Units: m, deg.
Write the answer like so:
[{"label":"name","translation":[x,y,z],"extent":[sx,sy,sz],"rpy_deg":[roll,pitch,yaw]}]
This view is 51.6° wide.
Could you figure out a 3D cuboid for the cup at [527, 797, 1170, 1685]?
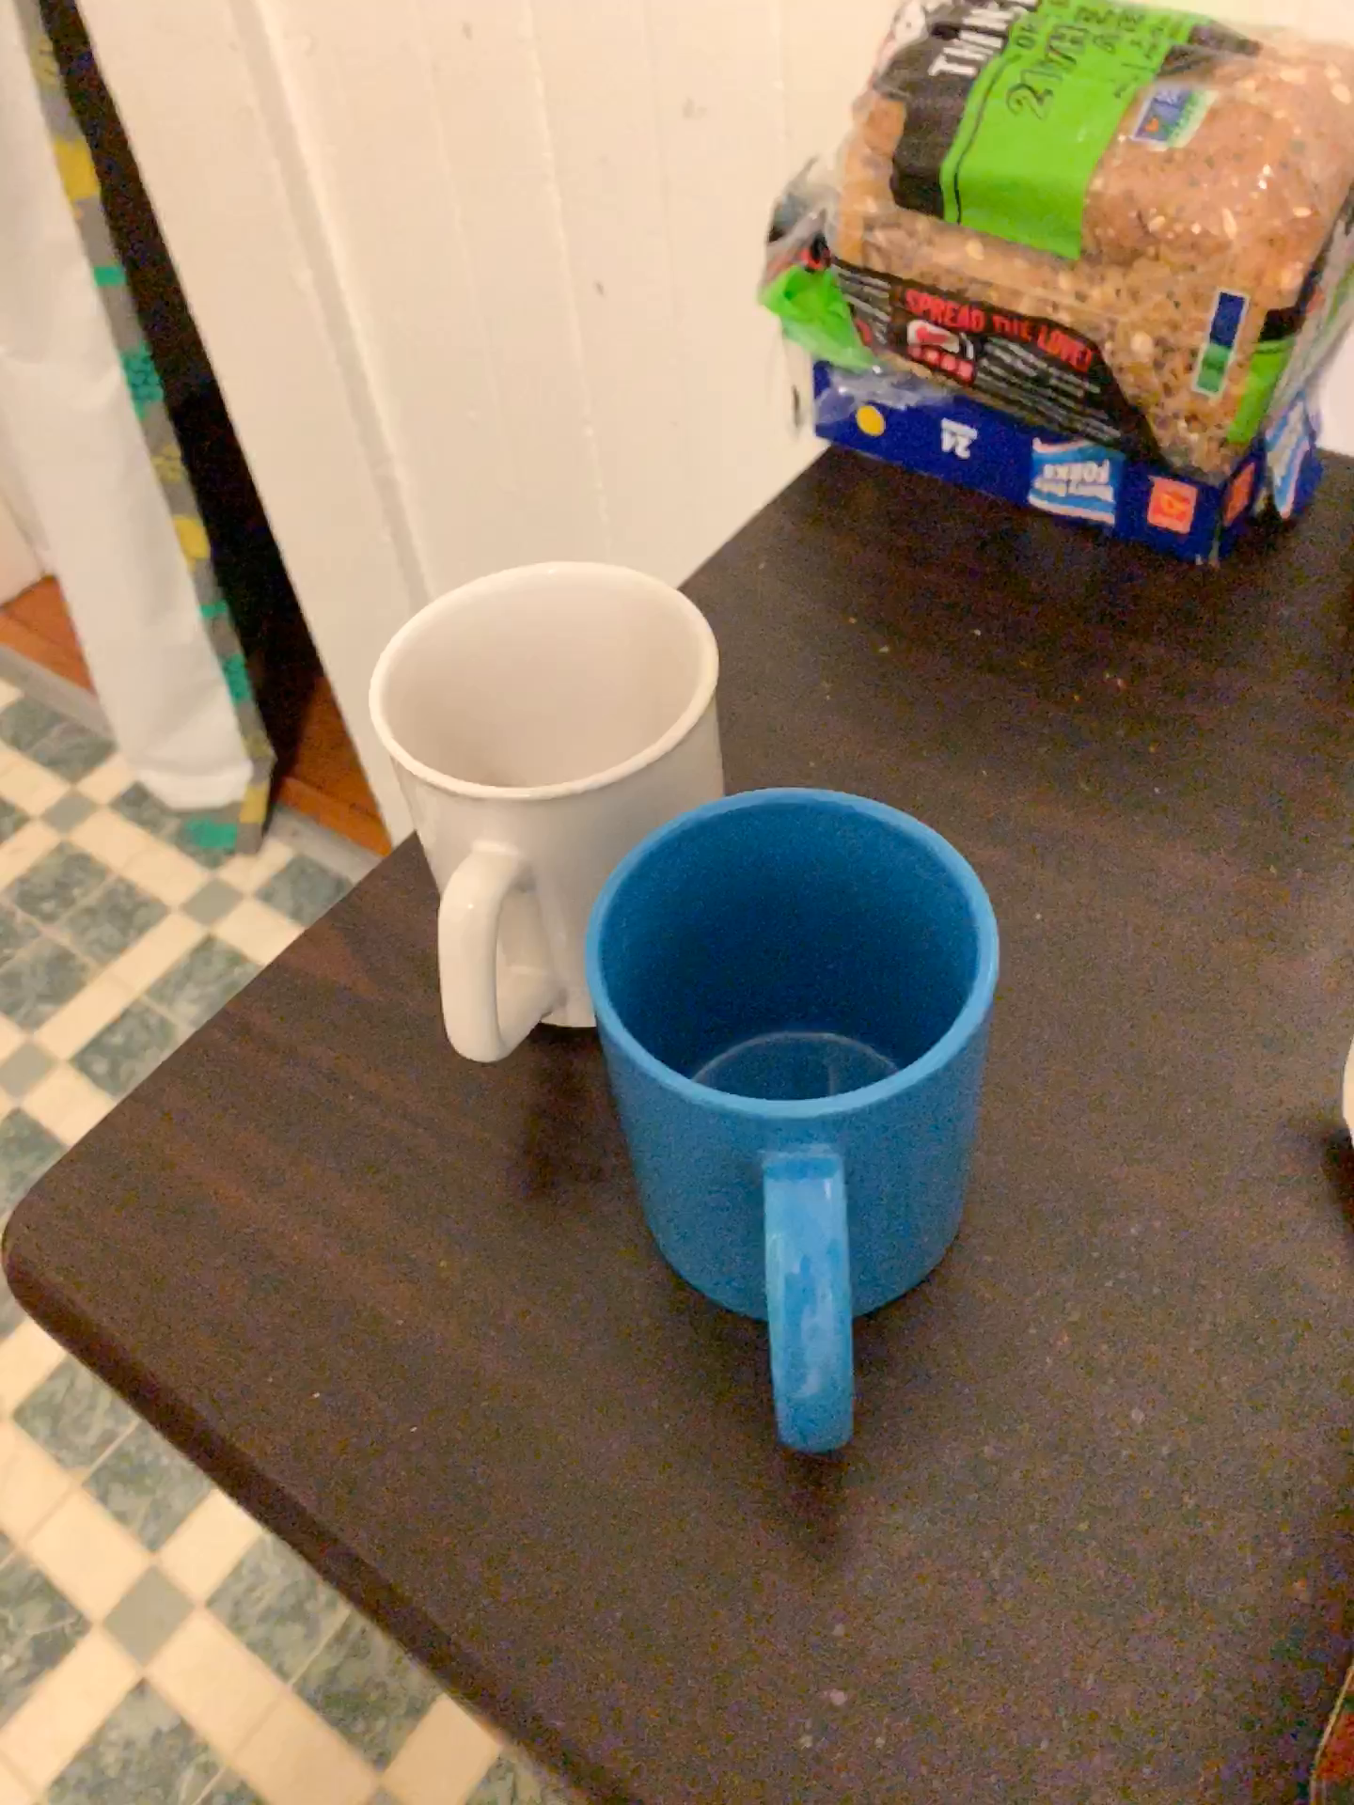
[{"label":"cup","translation":[0.032,0.065,0.280],"extent":[0.090,0.100,0.140],"rpy_deg":[-1,51,6]}]

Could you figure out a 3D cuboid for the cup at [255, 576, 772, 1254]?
[{"label":"cup","translation":[-0.027,0.002,0.345],"extent":[0.090,0.100,0.130],"rpy_deg":[1,51,8]}]
